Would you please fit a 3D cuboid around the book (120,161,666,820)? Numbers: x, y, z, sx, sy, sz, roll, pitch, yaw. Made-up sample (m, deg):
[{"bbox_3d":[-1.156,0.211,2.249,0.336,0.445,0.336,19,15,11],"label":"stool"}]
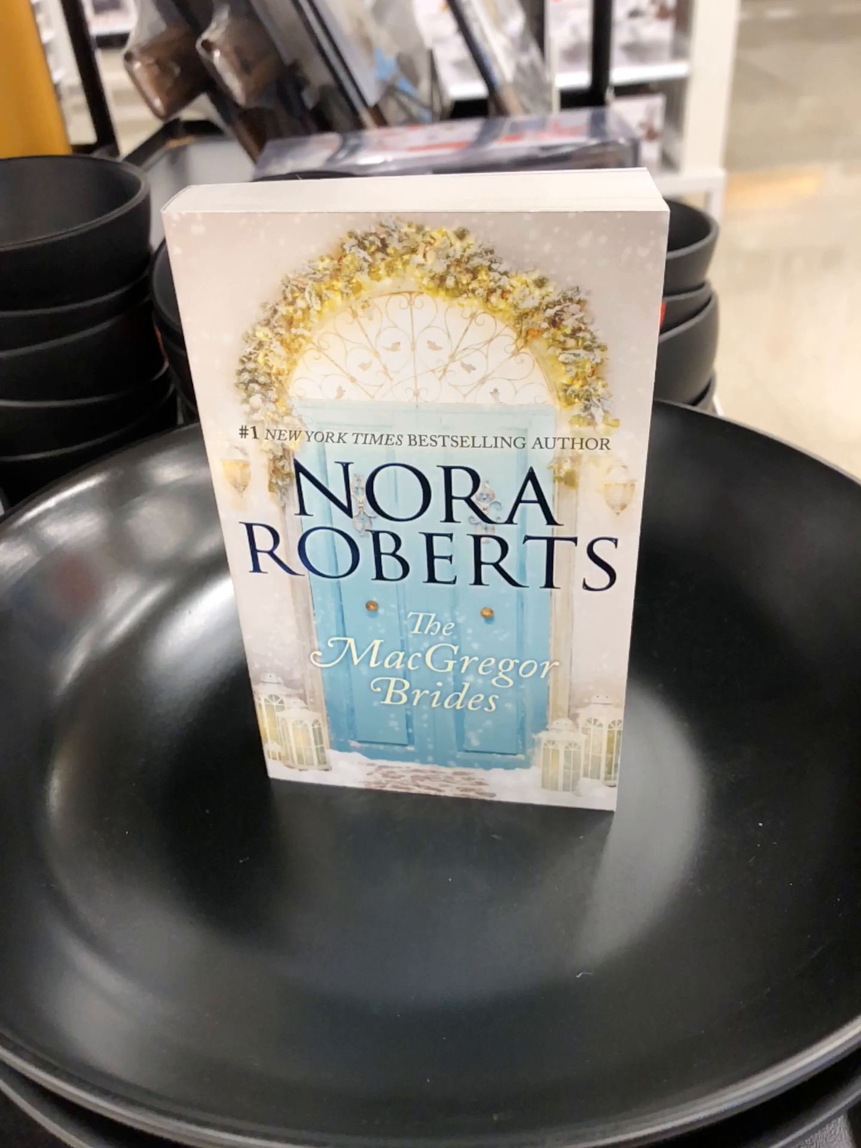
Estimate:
[{"bbox_3d":[-0.001,-0.013,0.254,0.111,0.168,0.040,3,35,10],"label":"book"}]
